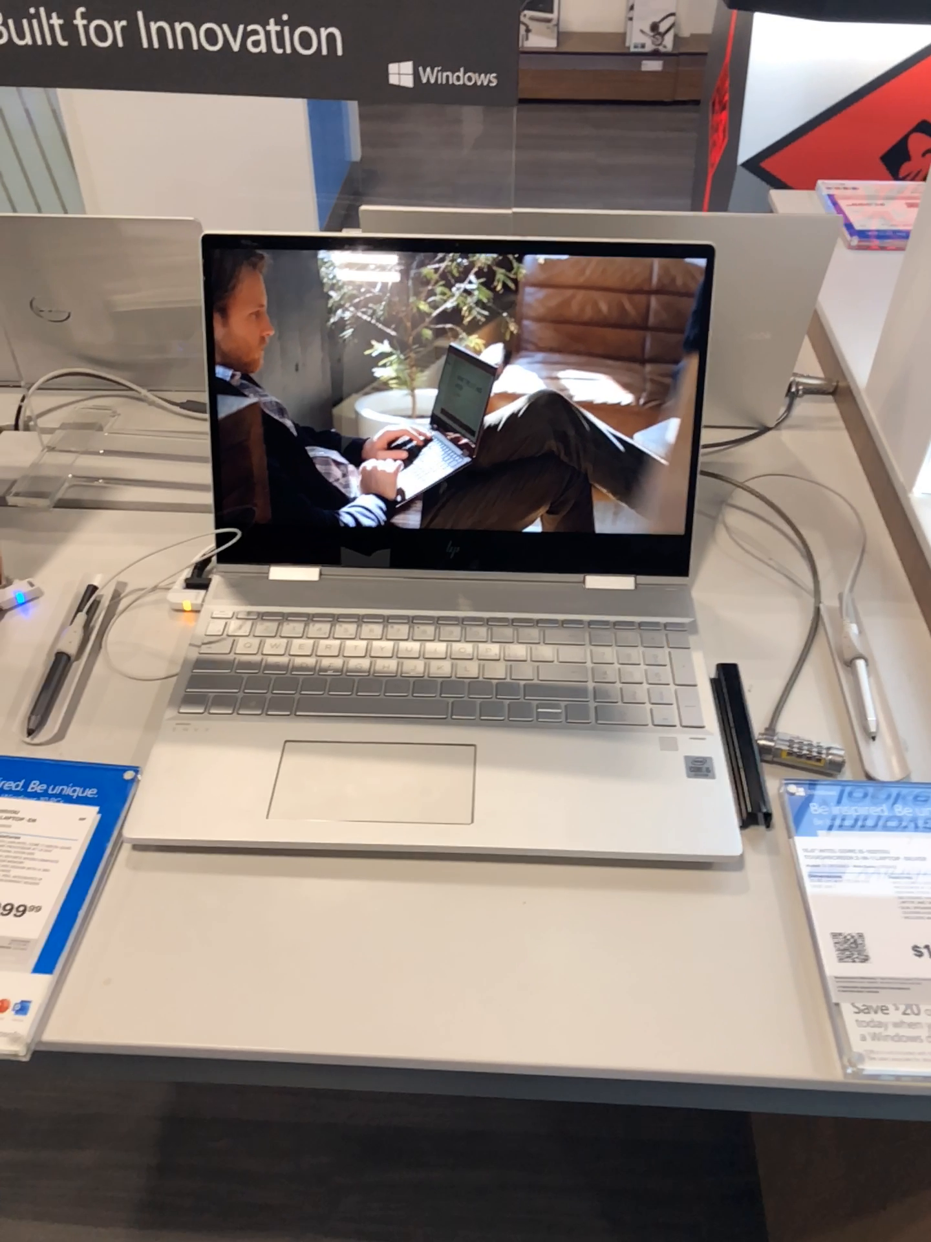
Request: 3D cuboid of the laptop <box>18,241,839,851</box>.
[{"bbox_3d":[-0.010,-0.068,0.649,0.358,0.210,0.355,1,41,2],"label":"laptop"}]
